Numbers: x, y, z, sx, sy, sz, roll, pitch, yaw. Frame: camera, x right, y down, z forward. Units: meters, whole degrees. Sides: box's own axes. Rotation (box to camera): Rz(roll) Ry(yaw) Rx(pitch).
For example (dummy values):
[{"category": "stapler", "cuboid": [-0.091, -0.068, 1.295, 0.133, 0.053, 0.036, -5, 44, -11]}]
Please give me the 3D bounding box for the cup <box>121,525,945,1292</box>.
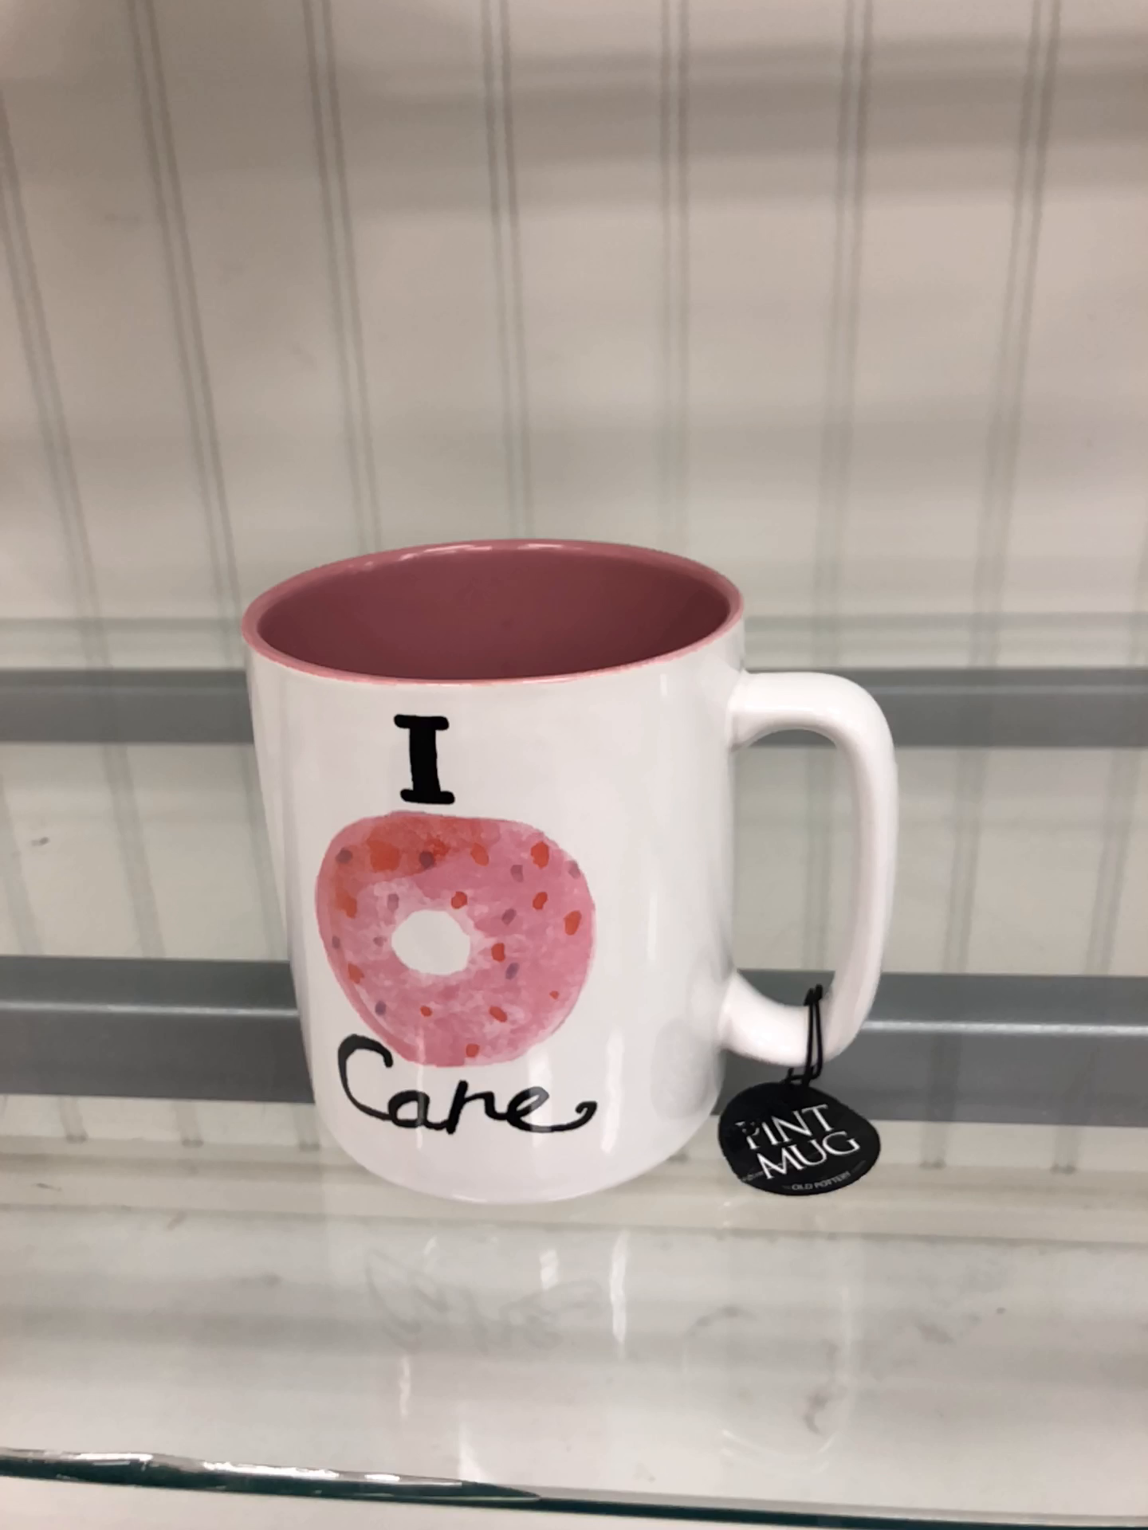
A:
[{"category": "cup", "cuboid": [0.002, 0.019, 0.271, 0.137, 0.112, 0.101, 4, 24, 14]}]
